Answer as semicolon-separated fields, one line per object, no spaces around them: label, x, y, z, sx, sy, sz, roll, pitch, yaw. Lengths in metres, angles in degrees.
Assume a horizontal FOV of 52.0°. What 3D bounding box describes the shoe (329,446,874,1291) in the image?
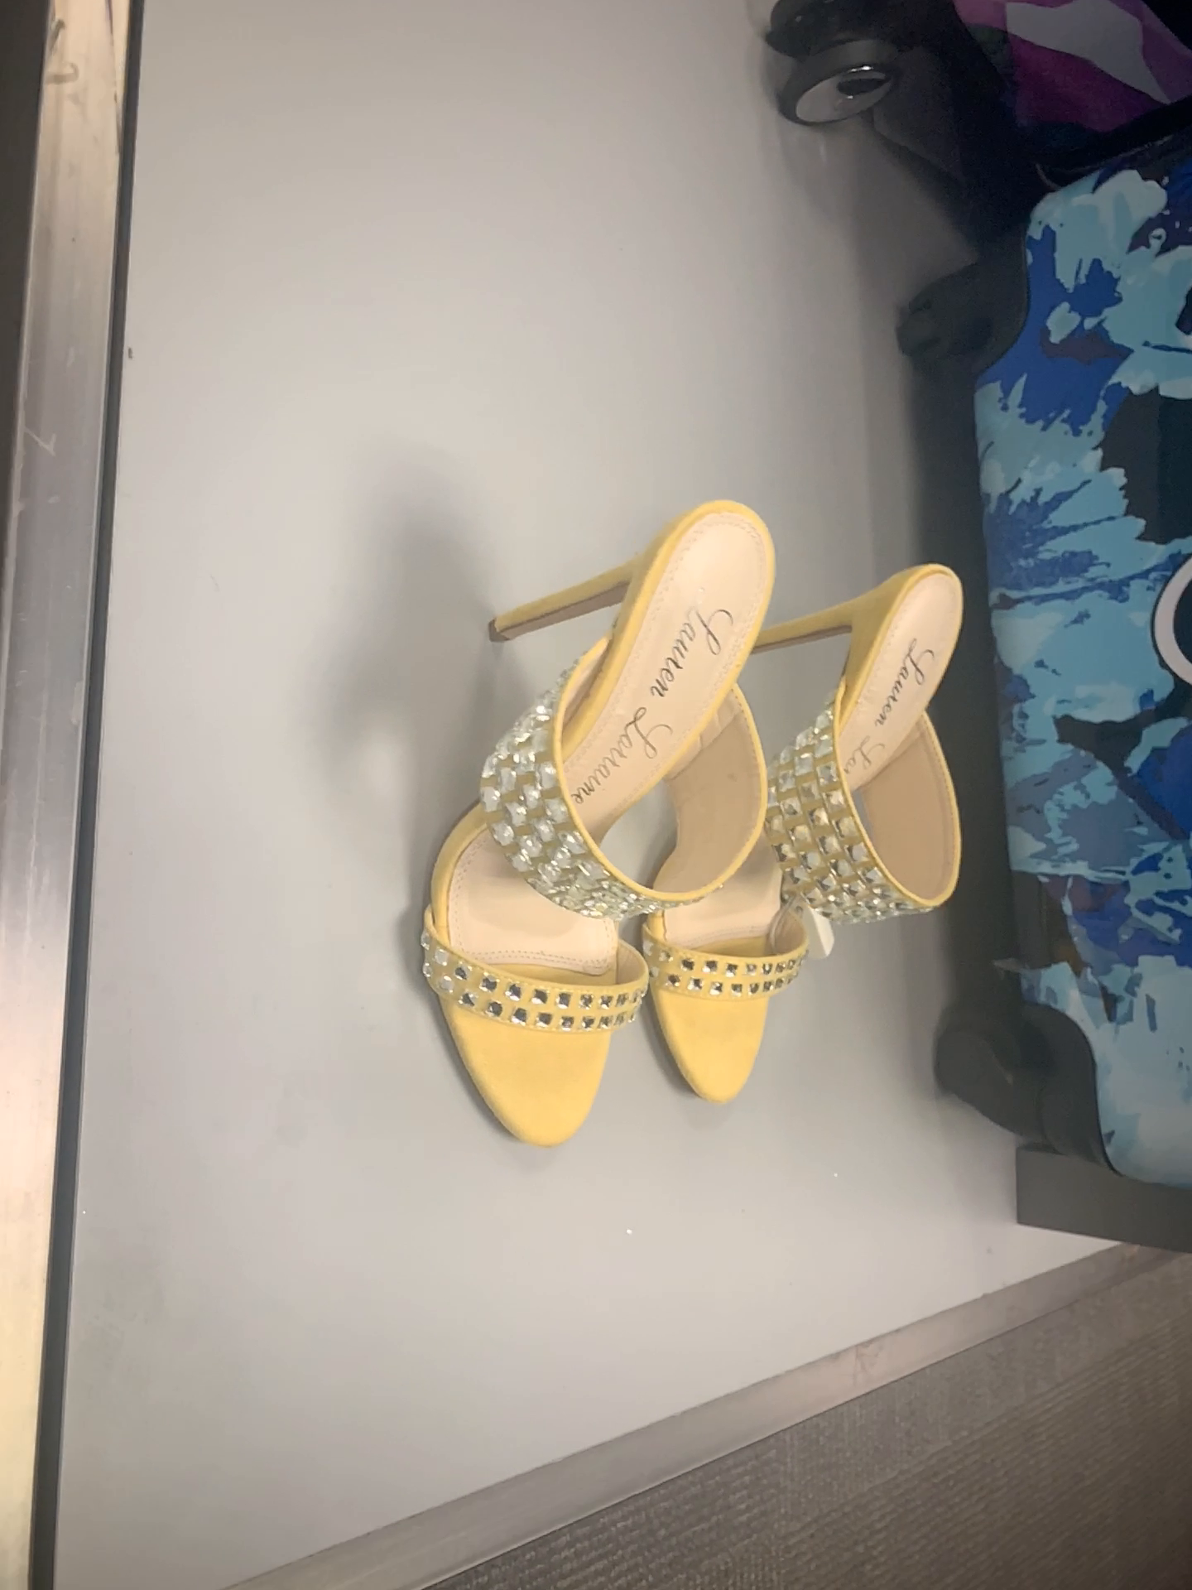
shoe;0.002;0.018;0.374;0.116;0.114;0.202;1;90;-46

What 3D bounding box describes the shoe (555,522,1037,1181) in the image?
shoe;0.075;0.021;0.448;0.111;0.116;0.199;10;83;-45
